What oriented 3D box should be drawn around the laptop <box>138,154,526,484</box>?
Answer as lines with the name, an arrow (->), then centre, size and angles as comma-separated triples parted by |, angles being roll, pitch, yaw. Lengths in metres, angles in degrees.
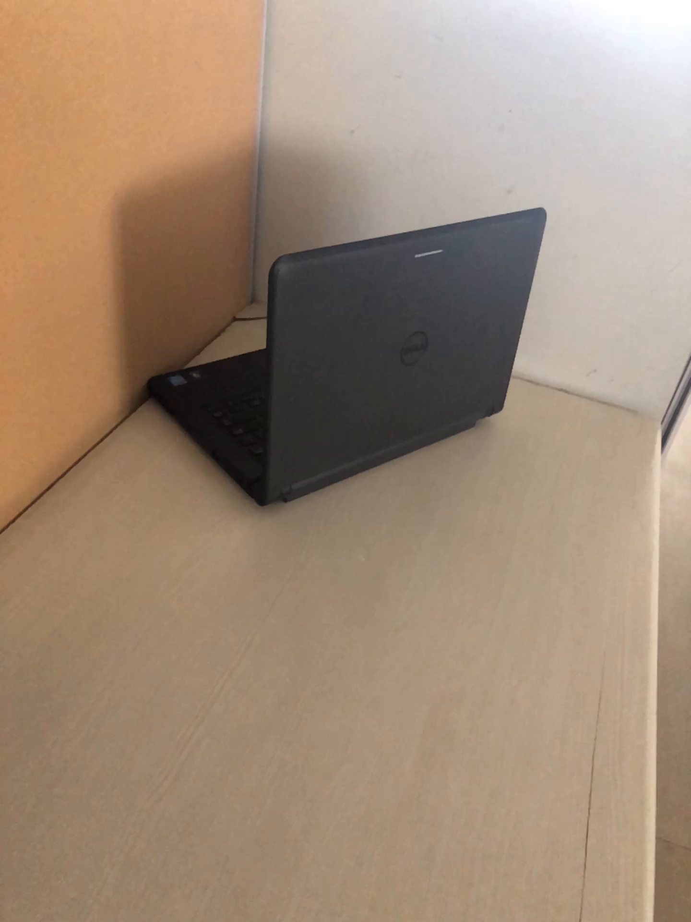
laptop -> -0.019, -0.165, 0.780 | 0.305, 0.211, 0.215 | -22, 45, -35
